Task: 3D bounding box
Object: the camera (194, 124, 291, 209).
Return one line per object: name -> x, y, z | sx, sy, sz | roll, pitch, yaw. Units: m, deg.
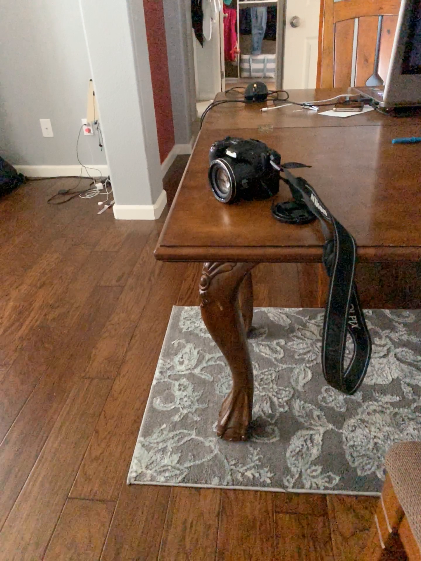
camera -> 0.044, -0.170, 0.628 | 0.090, 0.079, 0.111 | -20, 37, -26
